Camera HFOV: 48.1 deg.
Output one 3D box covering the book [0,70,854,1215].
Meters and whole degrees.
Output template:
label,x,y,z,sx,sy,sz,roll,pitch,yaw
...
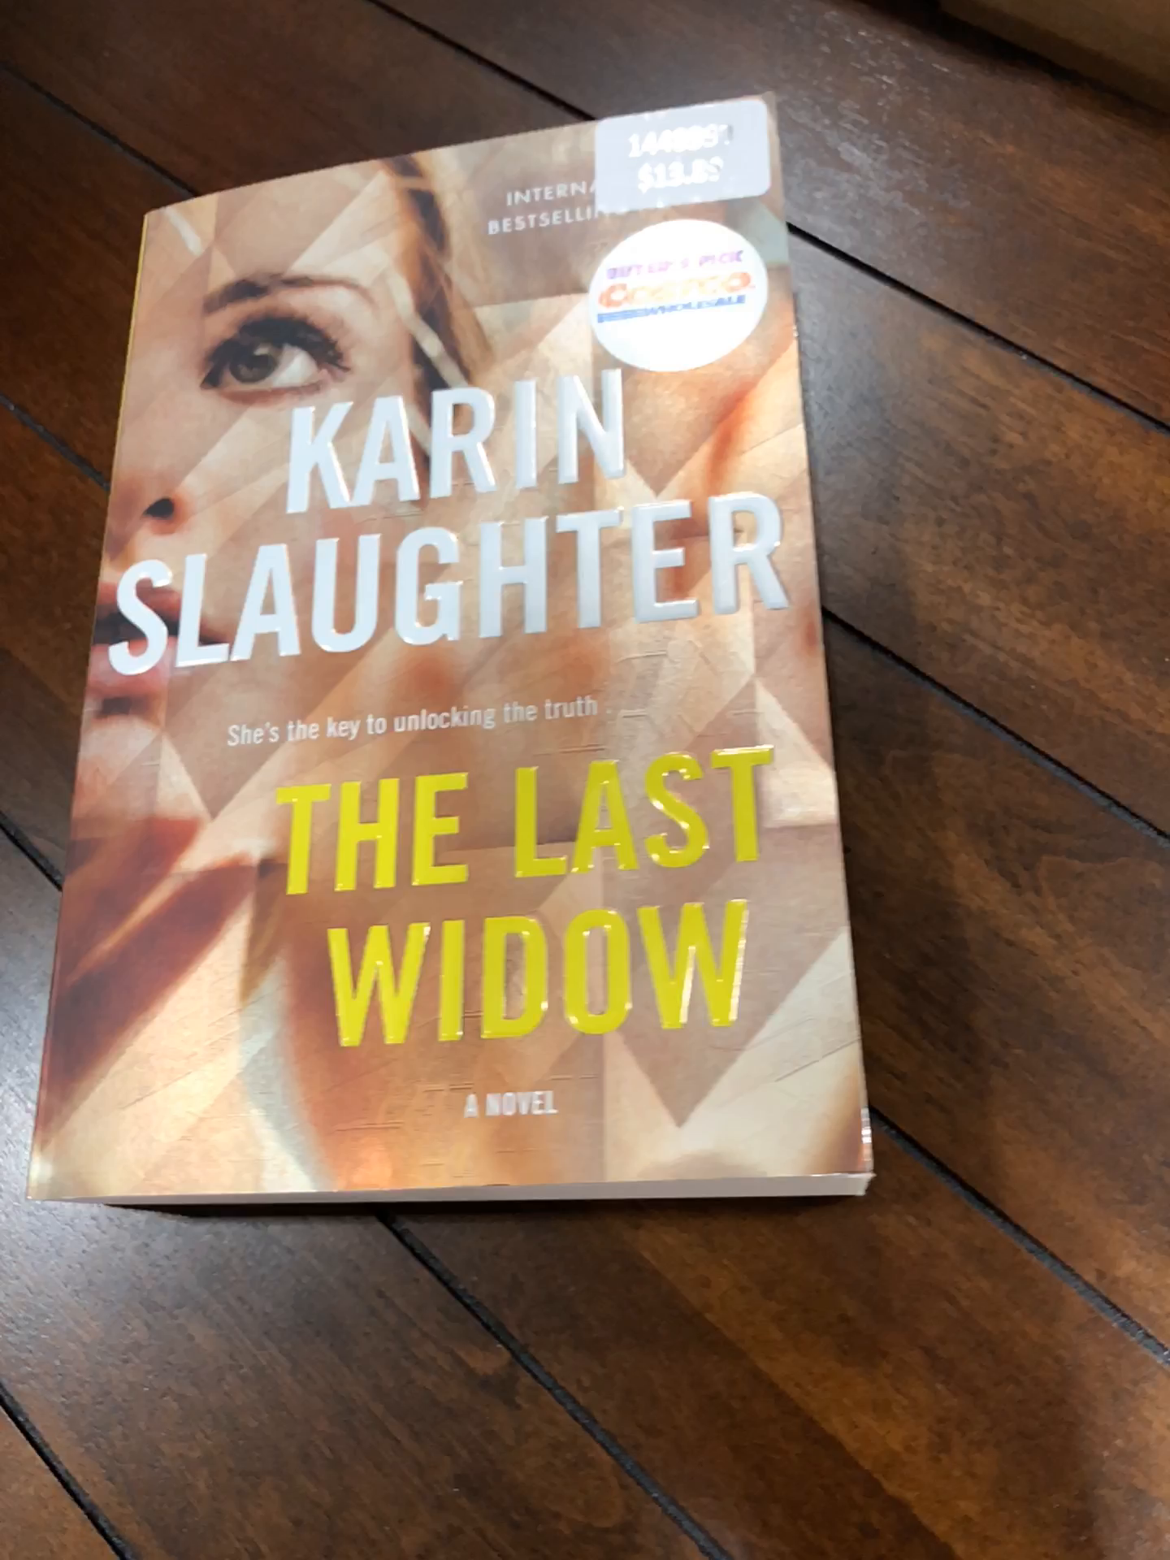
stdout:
label,x,y,z,sx,sy,sz,roll,pitch,yaw
book,-0.031,-0.031,0.276,0.154,0.042,0.230,-5,69,12
